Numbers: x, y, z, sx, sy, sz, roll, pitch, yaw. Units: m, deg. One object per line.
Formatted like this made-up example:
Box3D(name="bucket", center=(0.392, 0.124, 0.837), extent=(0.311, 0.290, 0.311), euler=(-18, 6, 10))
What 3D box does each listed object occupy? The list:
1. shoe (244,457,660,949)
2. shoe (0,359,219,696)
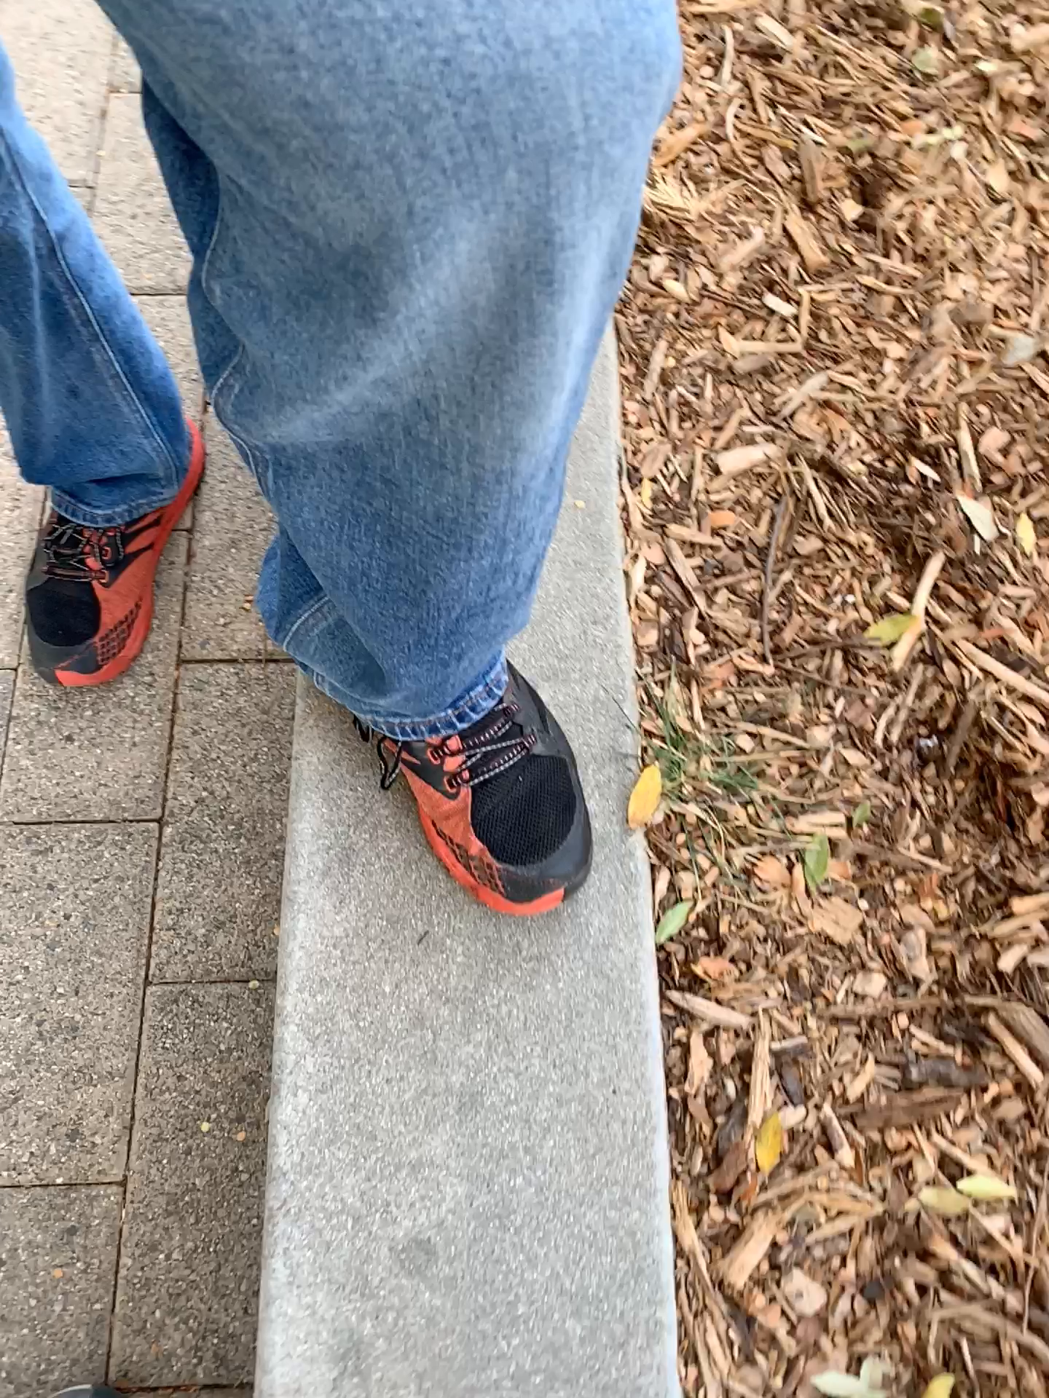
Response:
Box3D(name="shoe", center=(-0.054, -0.002, 0.726), extent=(0.122, 0.080, 0.310), euler=(-31, 73, -14))
Box3D(name="shoe", center=(-0.401, -0.167, 1.022), extent=(0.136, 0.080, 0.306), euler=(7, 68, -1))
